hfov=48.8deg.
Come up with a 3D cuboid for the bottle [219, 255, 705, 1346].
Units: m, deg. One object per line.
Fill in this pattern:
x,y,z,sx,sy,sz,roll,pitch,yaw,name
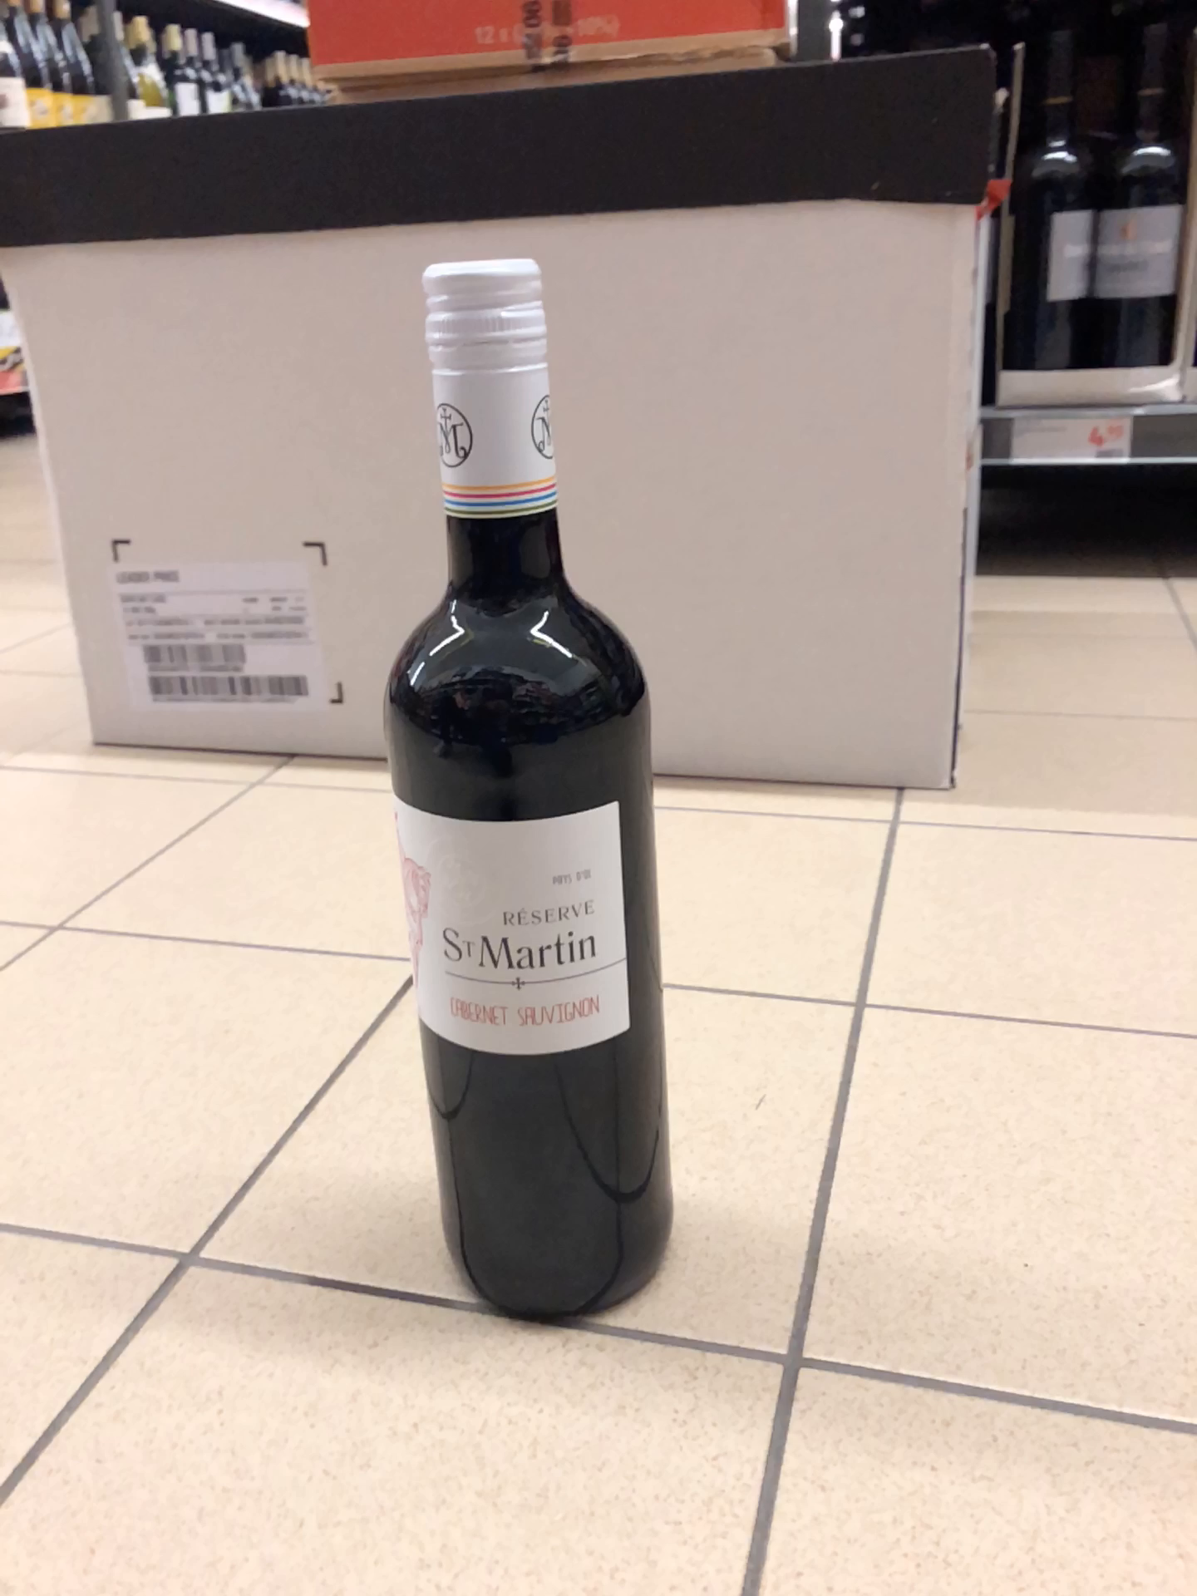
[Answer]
-0.024,0.005,0.373,0.090,0.289,0.080,3,22,14,bottle
